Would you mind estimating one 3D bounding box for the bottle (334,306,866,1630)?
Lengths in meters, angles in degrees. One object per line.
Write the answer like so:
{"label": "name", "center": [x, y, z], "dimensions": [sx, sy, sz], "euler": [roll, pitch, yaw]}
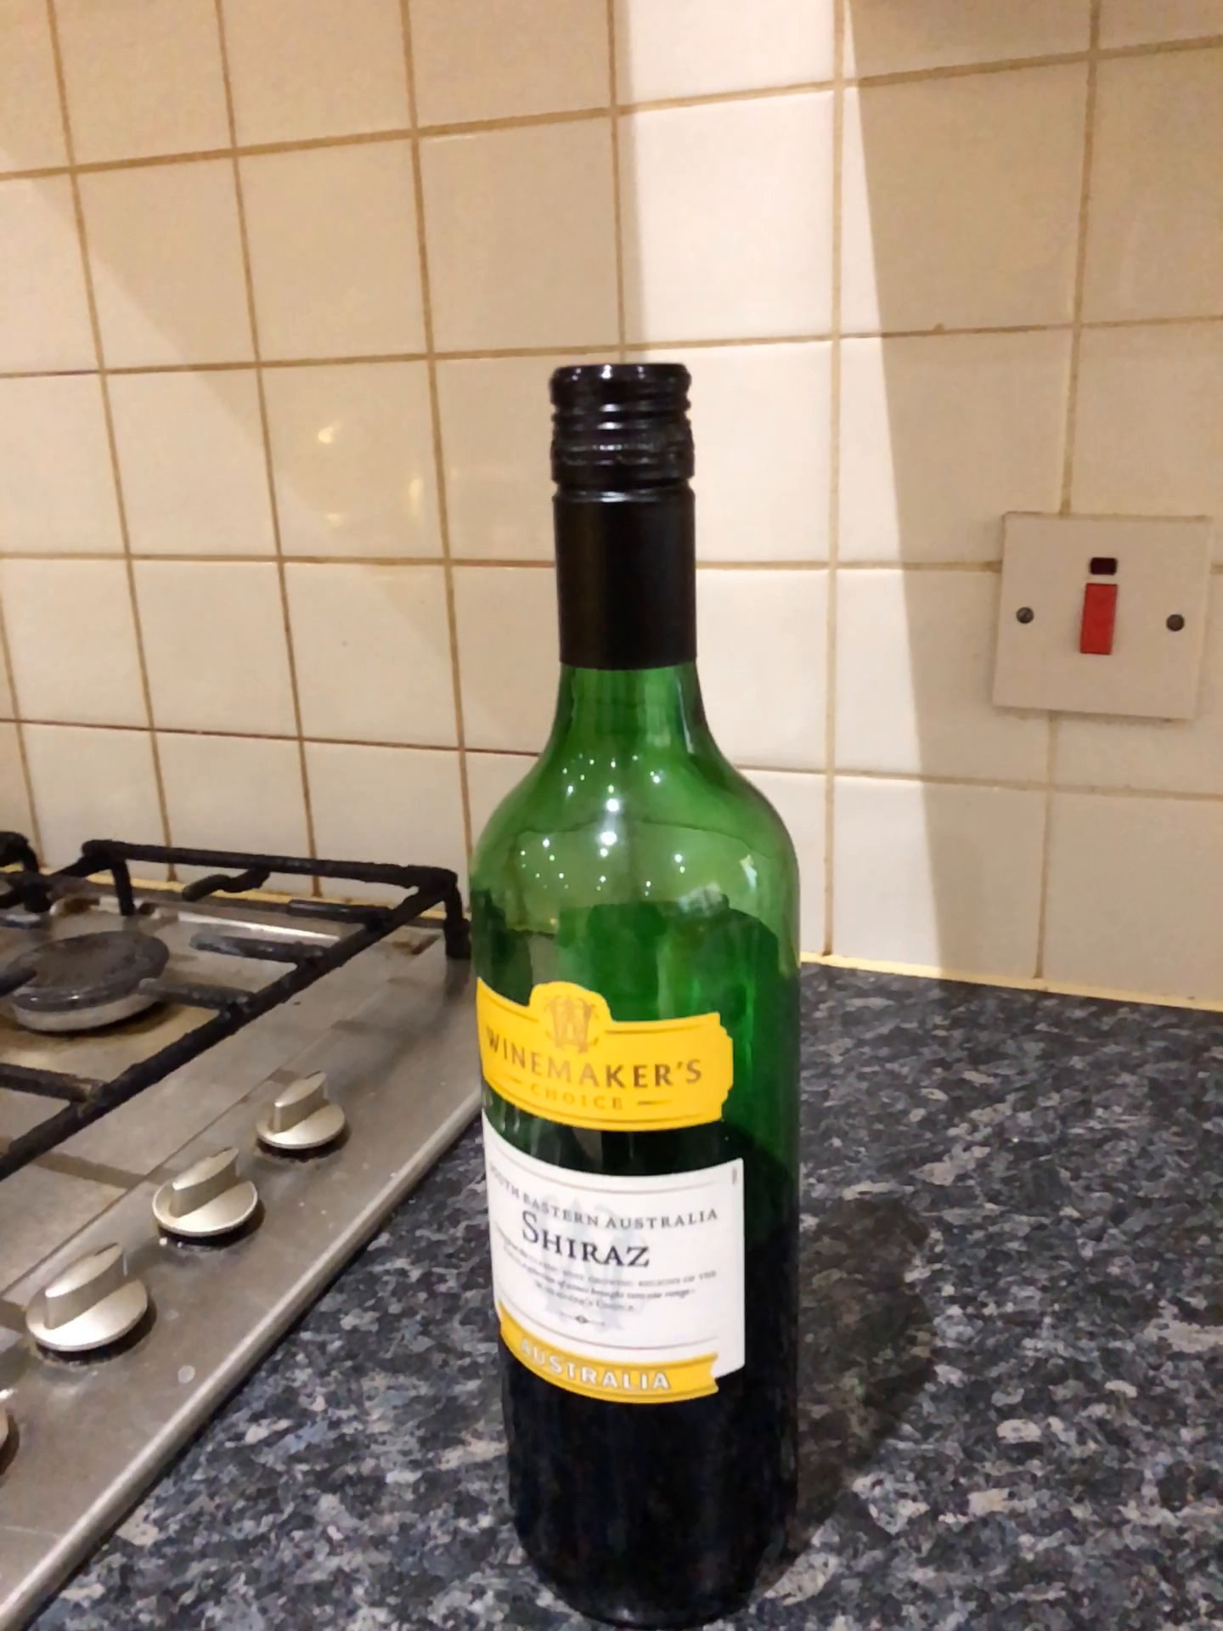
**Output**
{"label": "bottle", "center": [0.007, 0.038, 0.304], "dimensions": [0.080, 0.279, 0.080], "euler": [-2, 17, 1]}
